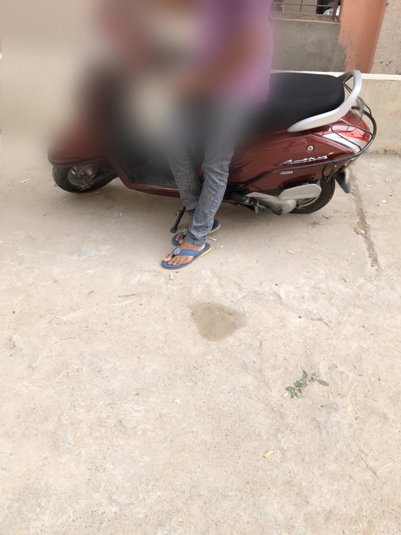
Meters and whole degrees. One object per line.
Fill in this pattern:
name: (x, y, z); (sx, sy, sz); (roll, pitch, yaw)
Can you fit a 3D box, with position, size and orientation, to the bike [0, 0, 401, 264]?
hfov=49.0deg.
bike: (-0.067, -0.694, 2.180); (1.576, 1.072, 0.633); (4, 36, 4)
